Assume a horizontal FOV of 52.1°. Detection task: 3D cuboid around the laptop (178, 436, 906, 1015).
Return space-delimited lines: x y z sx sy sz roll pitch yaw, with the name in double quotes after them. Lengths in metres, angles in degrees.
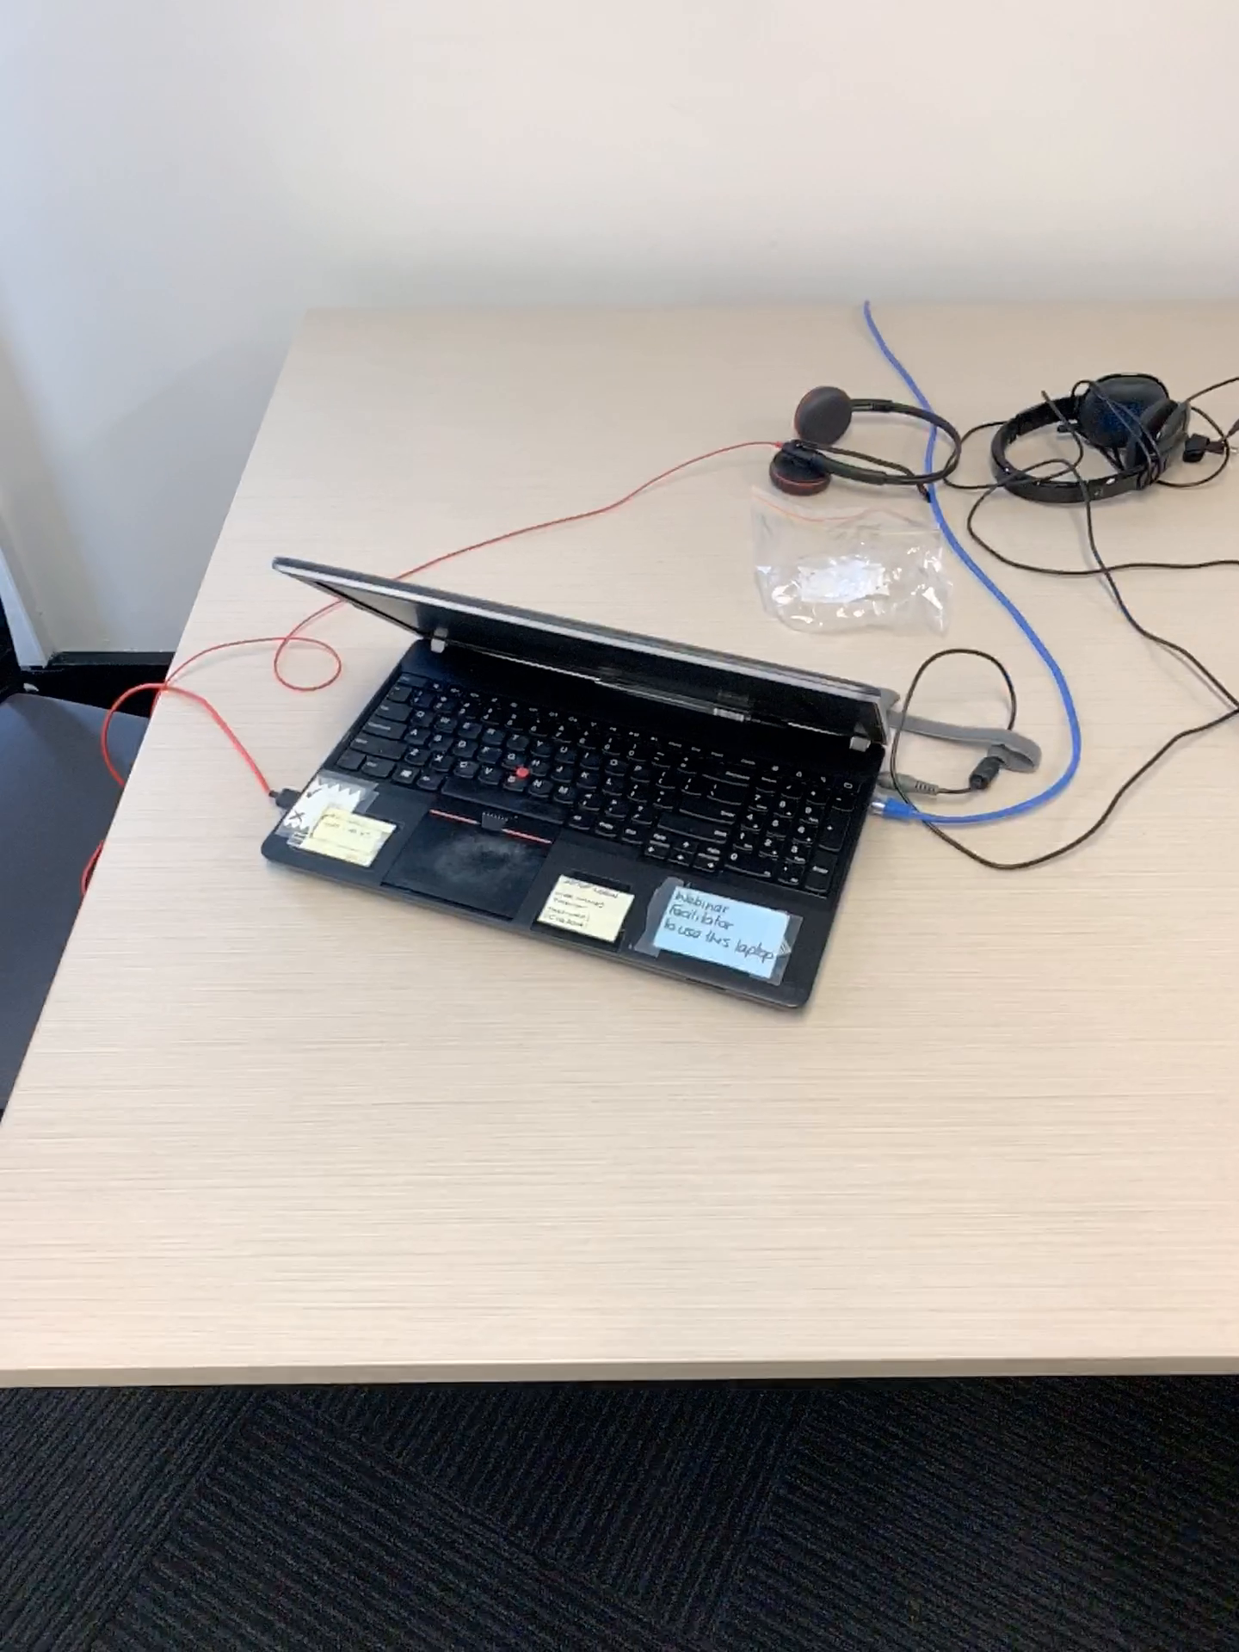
-0.028 -0.073 0.707 0.326 0.157 0.227 14 44 16 "laptop"
